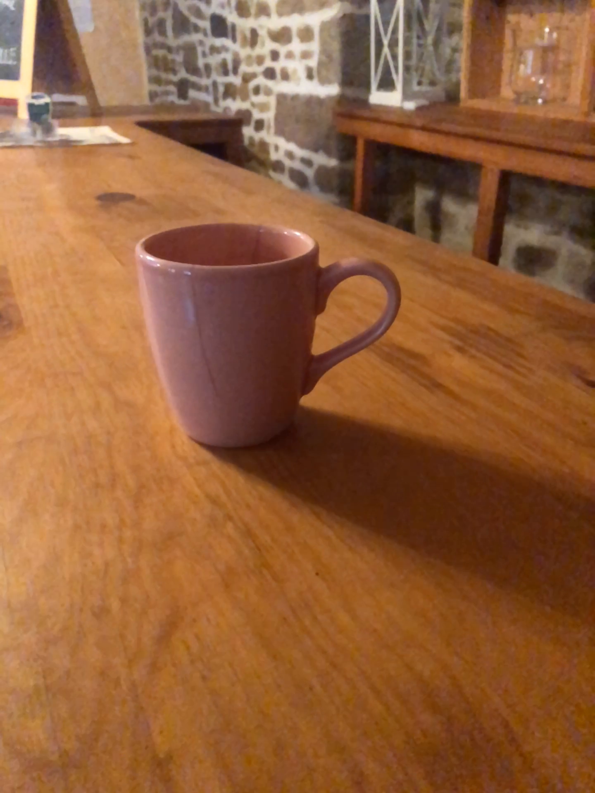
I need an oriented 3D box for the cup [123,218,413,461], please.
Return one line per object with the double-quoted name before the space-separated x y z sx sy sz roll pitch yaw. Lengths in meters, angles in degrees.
"cup" -0.014 -0.033 0.336 0.121 0.095 0.090 -1 28 -2
